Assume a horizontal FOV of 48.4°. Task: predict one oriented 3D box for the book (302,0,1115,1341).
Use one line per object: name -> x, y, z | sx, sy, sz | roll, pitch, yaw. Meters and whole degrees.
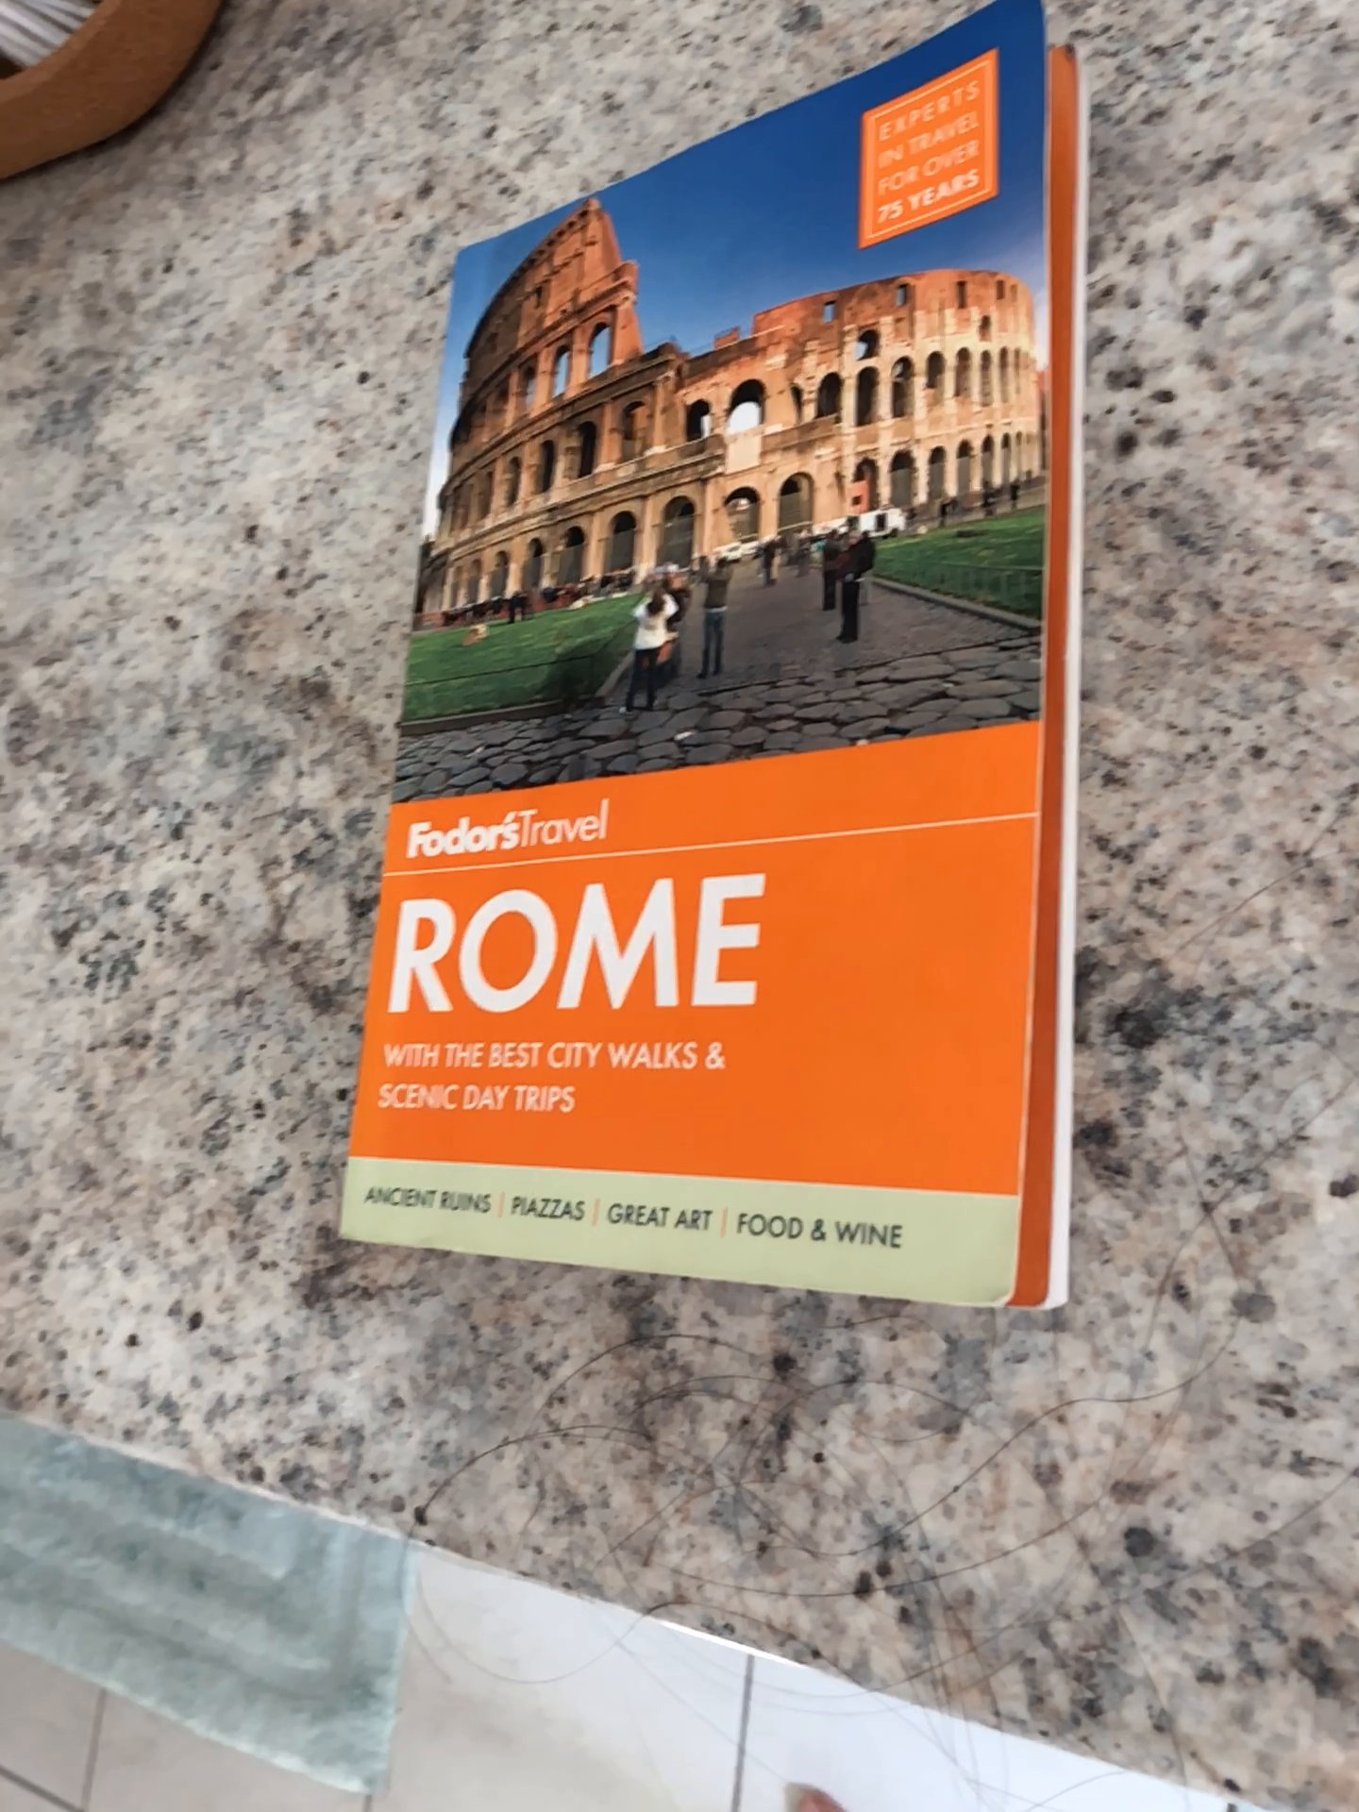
book -> 0.002, -0.039, 0.266 | 0.139, 0.023, 0.207 | -4, 76, 36
